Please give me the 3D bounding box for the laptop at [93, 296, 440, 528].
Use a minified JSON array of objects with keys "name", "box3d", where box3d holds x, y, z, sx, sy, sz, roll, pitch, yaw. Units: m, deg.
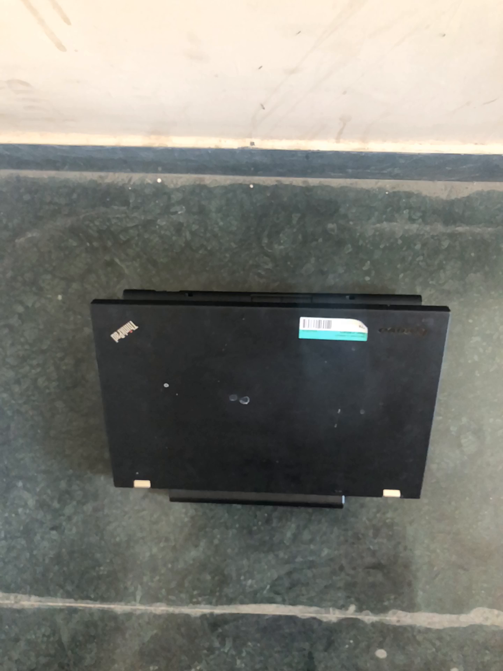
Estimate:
[{"name":"laptop","box3d":[0.019,0.077,0.613,0.349,0.095,0.227,1,88,1]}]
